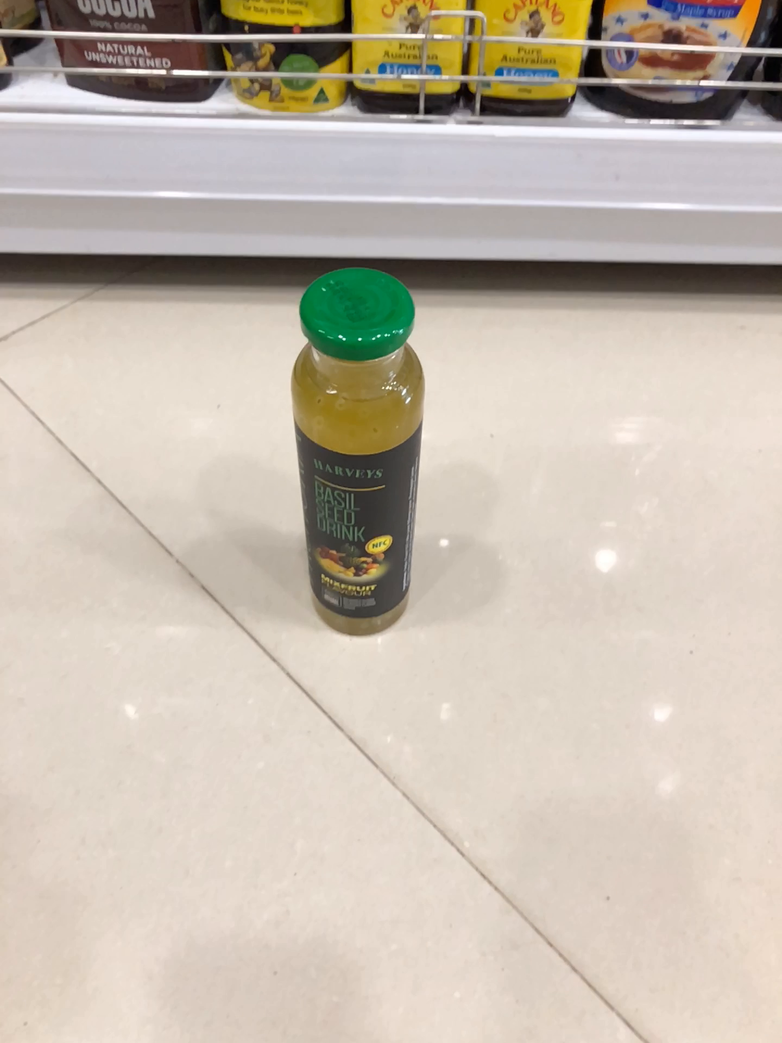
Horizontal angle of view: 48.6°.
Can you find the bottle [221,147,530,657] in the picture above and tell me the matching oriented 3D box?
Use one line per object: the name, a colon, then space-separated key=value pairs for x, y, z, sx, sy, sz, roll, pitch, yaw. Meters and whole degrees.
bottle: x=-0.006 y=-0.035 z=0.358 sx=0.080 sy=0.199 sz=0.070 roll=17 pitch=54 yaw=11
